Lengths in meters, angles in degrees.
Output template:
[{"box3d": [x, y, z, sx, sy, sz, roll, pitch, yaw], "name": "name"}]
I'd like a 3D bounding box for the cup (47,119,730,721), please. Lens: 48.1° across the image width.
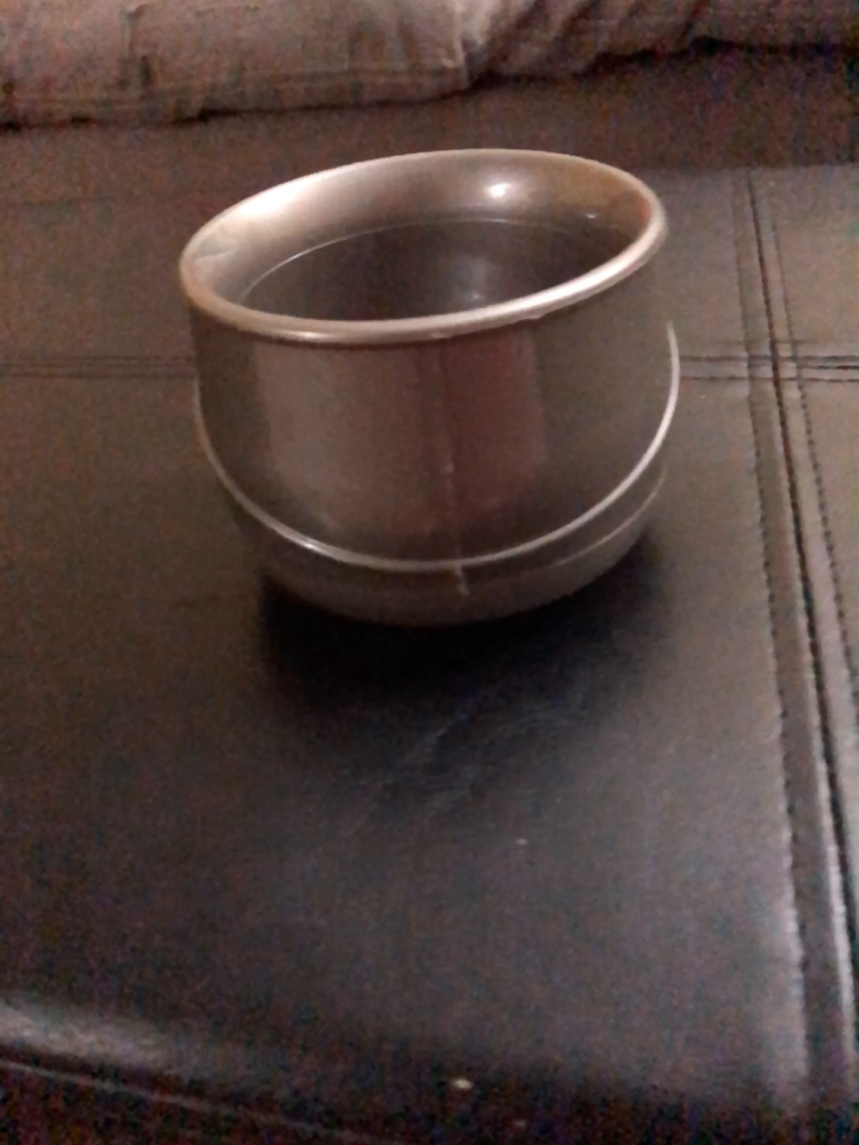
[{"box3d": [0.001, -0.037, 0.182, 0.083, 0.066, 0.090, -4, 39, 4], "name": "cup"}]
